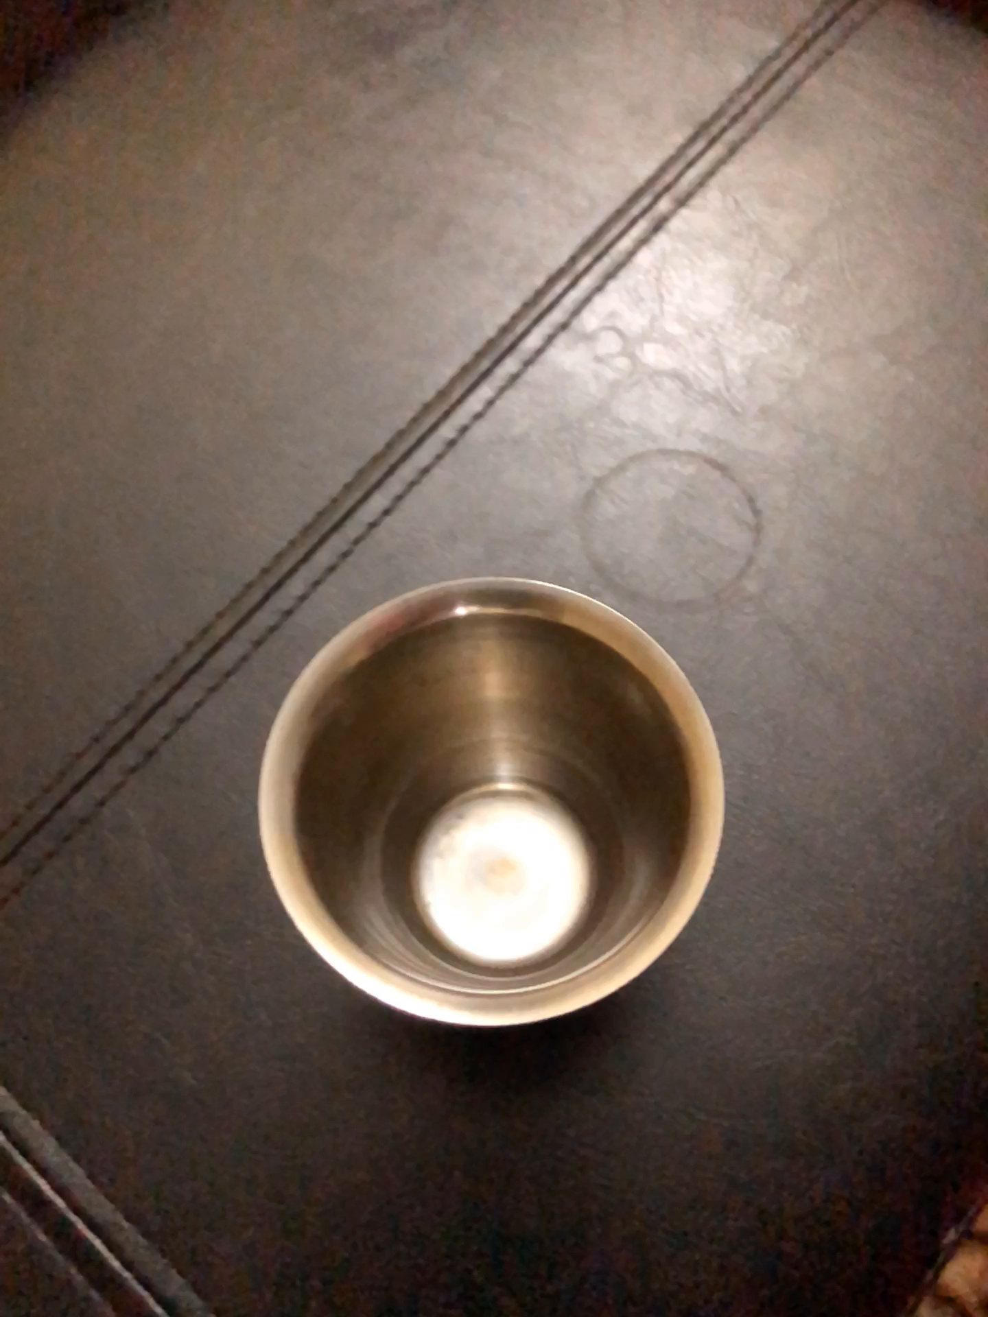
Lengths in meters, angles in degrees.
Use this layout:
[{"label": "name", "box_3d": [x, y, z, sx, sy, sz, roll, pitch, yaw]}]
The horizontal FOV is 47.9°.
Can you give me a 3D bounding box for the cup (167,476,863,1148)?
[{"label": "cup", "box_3d": [0.003, 0.026, 0.182, 0.074, 0.053, 0.067, -2, 67, 4]}]
